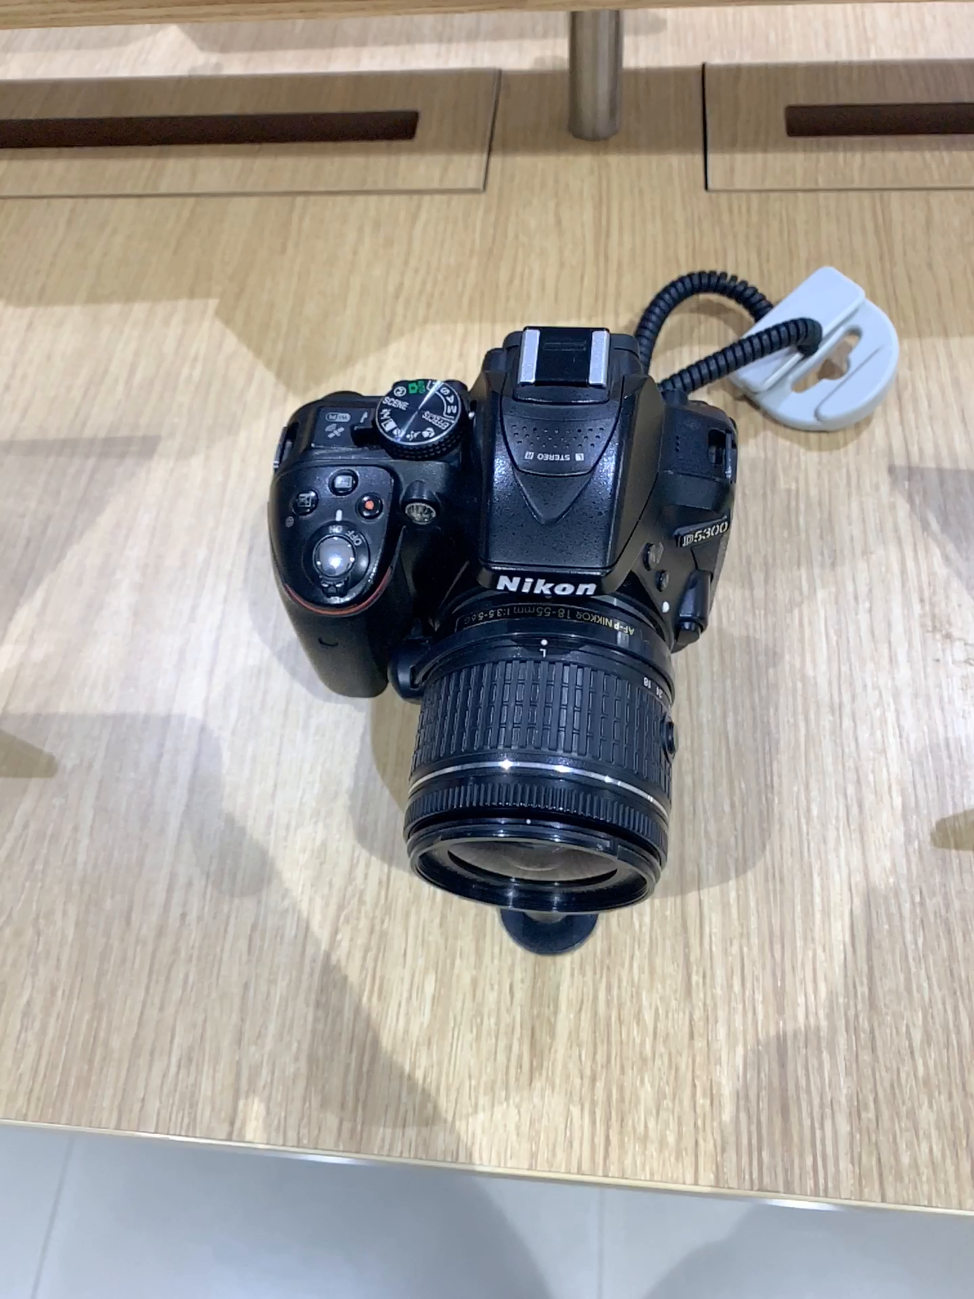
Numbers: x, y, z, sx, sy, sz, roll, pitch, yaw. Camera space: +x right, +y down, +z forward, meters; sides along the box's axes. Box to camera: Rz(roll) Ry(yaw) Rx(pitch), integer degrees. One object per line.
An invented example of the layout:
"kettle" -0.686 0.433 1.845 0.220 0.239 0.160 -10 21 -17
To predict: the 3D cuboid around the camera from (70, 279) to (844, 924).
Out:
"camera" -0.001 -0.010 0.232 0.130 0.080 0.120 1 61 6
